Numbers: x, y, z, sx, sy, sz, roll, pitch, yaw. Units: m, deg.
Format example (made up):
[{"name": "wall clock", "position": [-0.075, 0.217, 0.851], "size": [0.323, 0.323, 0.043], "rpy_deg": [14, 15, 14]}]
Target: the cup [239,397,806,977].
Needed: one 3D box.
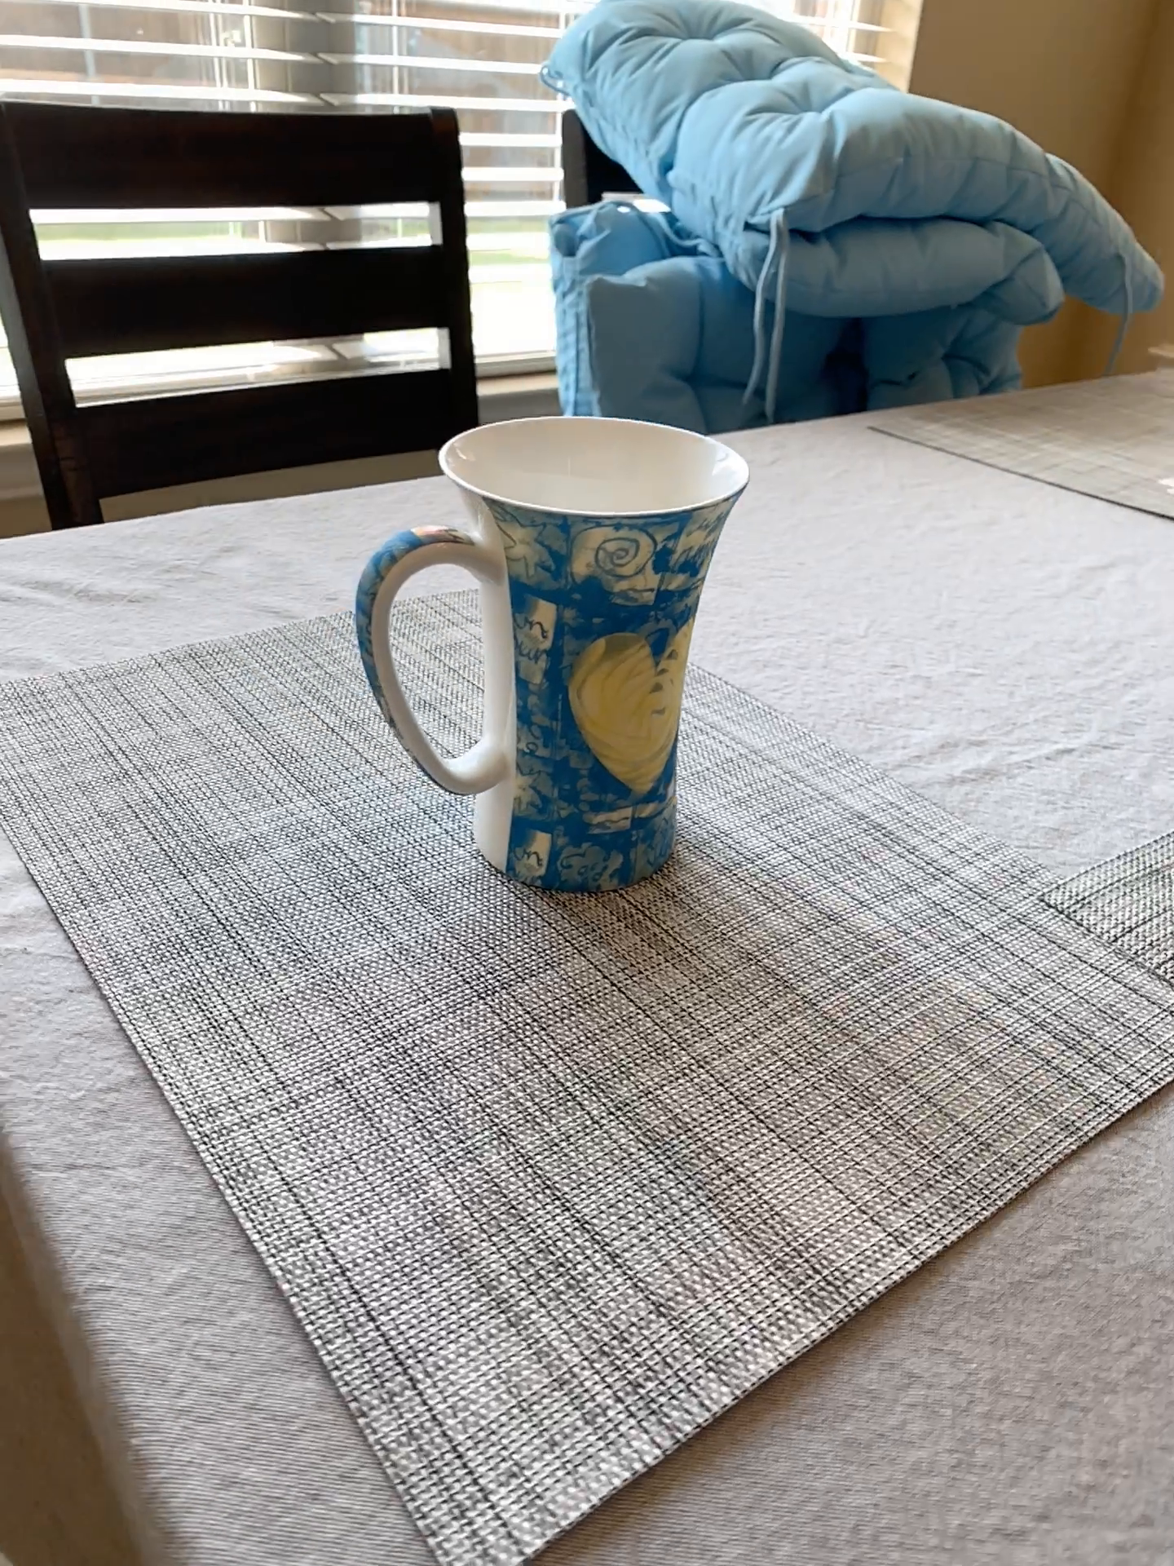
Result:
[{"name": "cup", "position": [-0.025, -0.042, 0.425], "size": [0.152, 0.148, 0.100], "rpy_deg": [-15, 36, -29]}]
